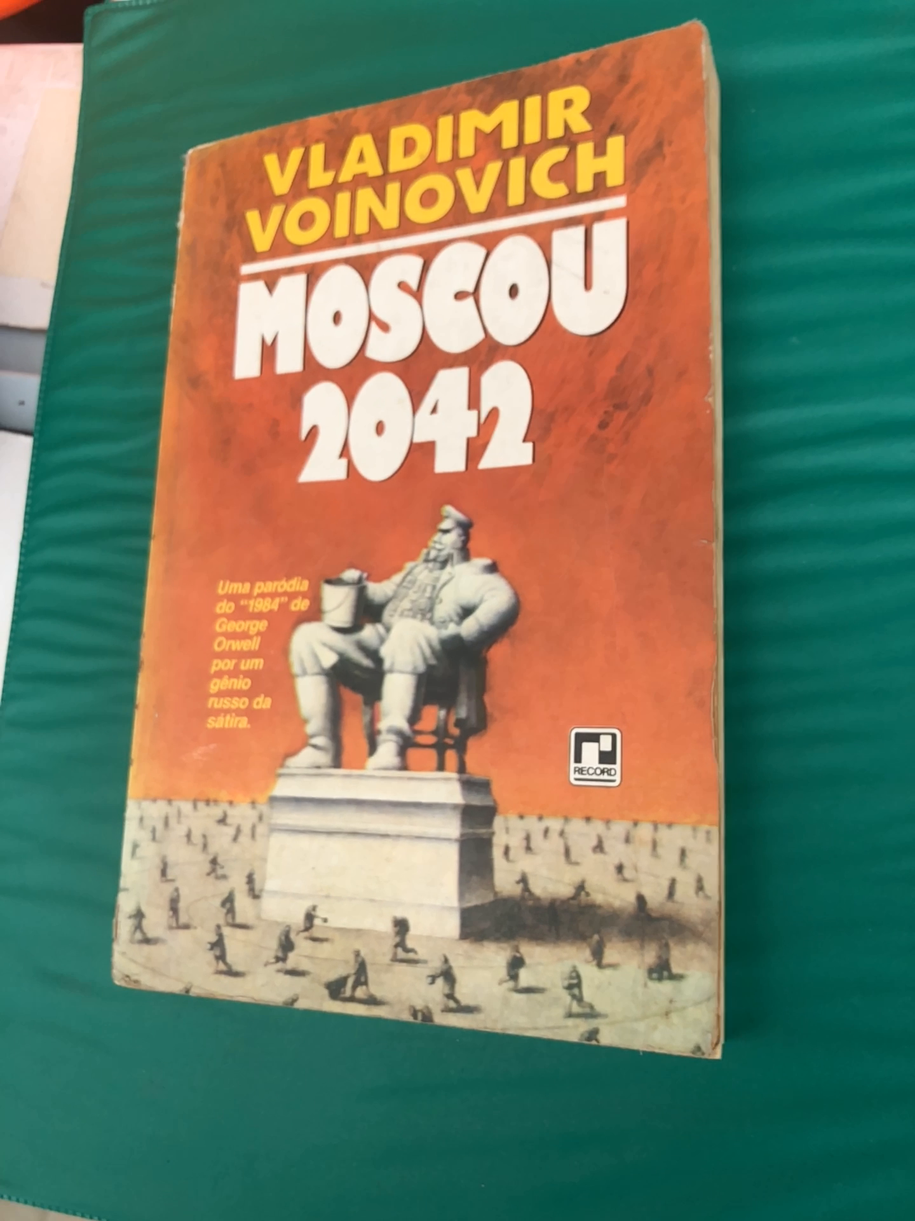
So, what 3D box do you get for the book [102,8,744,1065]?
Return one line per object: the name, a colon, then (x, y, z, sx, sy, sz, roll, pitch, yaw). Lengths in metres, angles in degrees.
book: (-0.008, -0.019, 0.225, 0.132, 0.020, 0.203, -2, 79, 21)
